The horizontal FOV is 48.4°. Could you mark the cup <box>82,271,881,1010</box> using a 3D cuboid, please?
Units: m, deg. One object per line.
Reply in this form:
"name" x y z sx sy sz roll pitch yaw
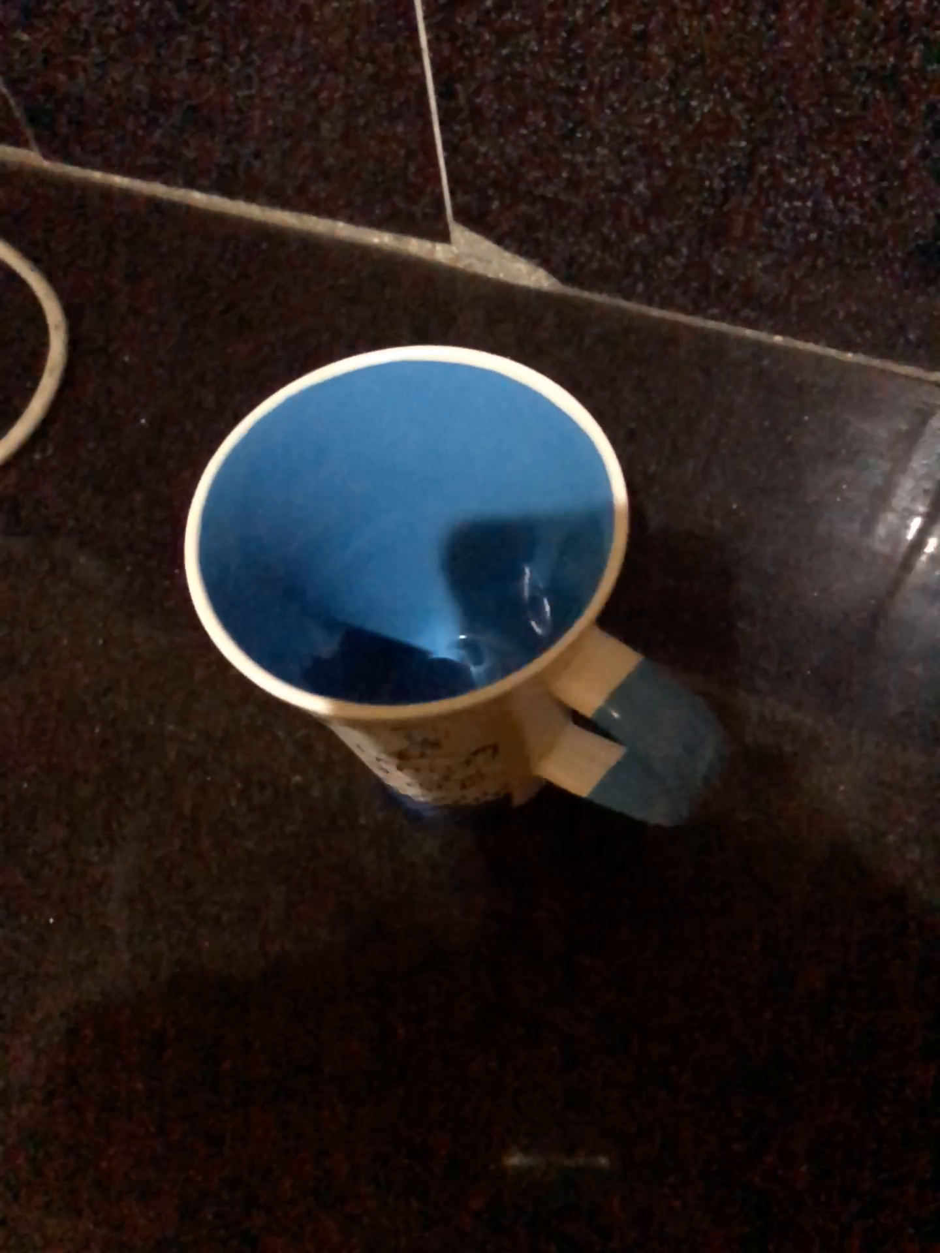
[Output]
"cup" 0.005 0.007 0.254 0.130 0.110 0.090 30 69 20
